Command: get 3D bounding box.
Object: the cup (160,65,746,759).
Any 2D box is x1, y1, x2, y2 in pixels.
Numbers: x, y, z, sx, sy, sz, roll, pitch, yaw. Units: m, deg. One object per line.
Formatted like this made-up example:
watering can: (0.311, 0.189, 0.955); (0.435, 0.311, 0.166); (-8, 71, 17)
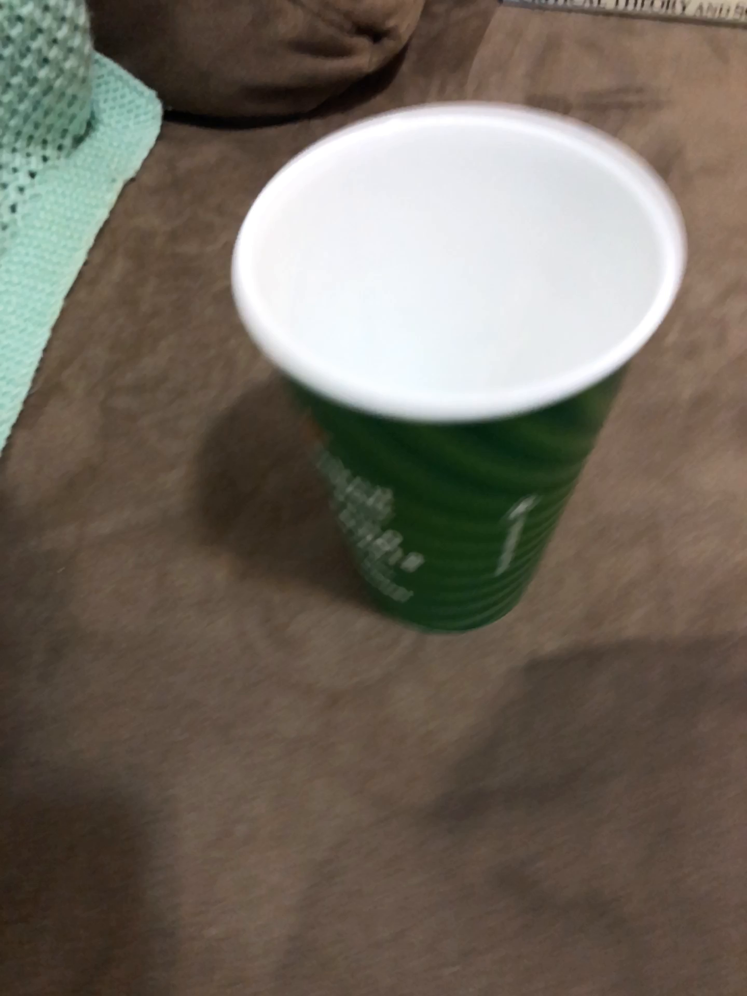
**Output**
cup: (0.023, -0.016, 0.226); (0.100, 0.129, 0.100); (-3, 57, 4)
